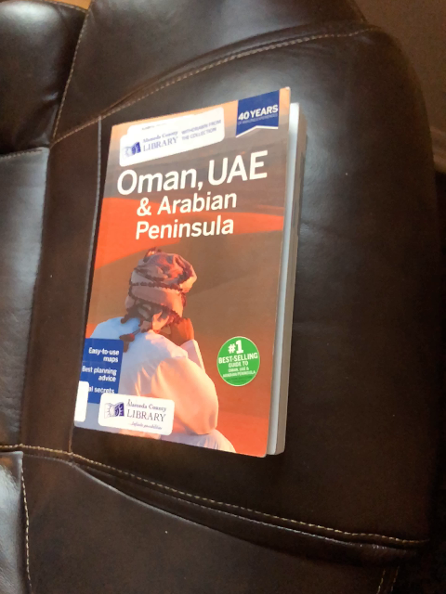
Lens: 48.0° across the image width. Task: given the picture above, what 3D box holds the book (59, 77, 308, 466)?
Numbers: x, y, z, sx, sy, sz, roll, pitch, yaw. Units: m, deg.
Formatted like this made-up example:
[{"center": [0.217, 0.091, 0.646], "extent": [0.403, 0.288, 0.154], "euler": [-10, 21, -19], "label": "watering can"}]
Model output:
[{"center": [-0.024, -0.016, 0.300], "extent": [0.138, 0.030, 0.203], "euler": [0, 81, 27], "label": "book"}]
